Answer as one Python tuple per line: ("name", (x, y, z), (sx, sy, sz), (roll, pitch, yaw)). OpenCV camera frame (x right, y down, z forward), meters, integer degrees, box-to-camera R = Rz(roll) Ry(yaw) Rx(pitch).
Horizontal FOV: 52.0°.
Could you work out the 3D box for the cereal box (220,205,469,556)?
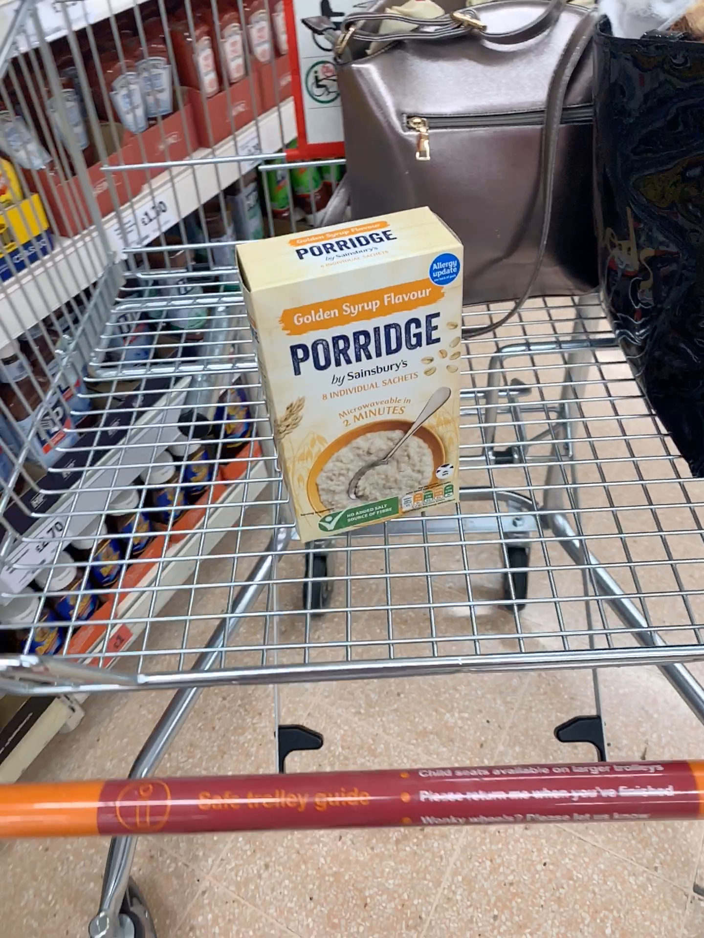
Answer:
("cereal box", (0.001, -0.051, 0.487), (0.130, 0.208, 0.071), (-14, 44, -8))
